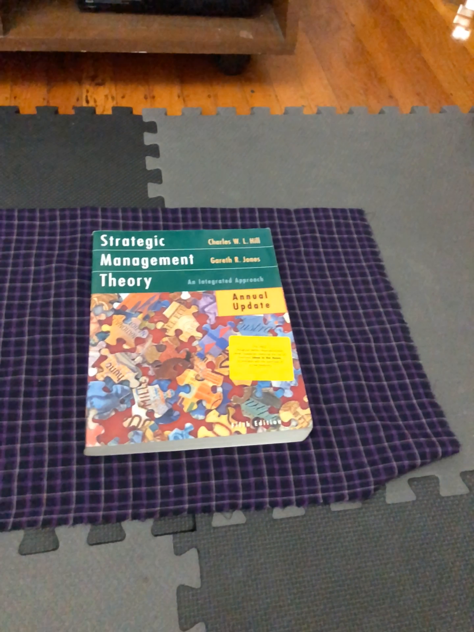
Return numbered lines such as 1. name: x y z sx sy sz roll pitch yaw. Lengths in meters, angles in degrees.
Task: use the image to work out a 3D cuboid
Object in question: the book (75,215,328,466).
1. book: -0.045 0.008 0.567 0.230 0.040 0.281 -2 57 -8
